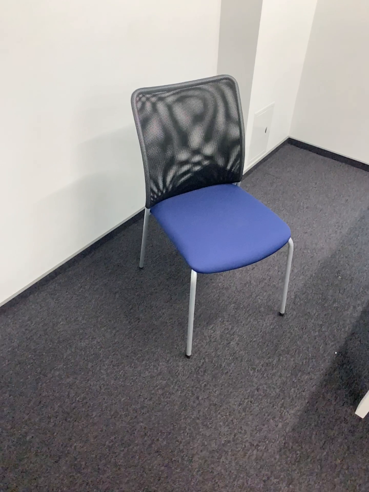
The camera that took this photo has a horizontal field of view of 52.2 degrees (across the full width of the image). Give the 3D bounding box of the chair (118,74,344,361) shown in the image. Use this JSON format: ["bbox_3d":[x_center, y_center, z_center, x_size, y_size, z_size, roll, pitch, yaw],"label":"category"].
[{"bbox_3d":[0.111,-0.107,1.503,0.491,0.865,0.592,-18,46,-19],"label":"chair"}]
